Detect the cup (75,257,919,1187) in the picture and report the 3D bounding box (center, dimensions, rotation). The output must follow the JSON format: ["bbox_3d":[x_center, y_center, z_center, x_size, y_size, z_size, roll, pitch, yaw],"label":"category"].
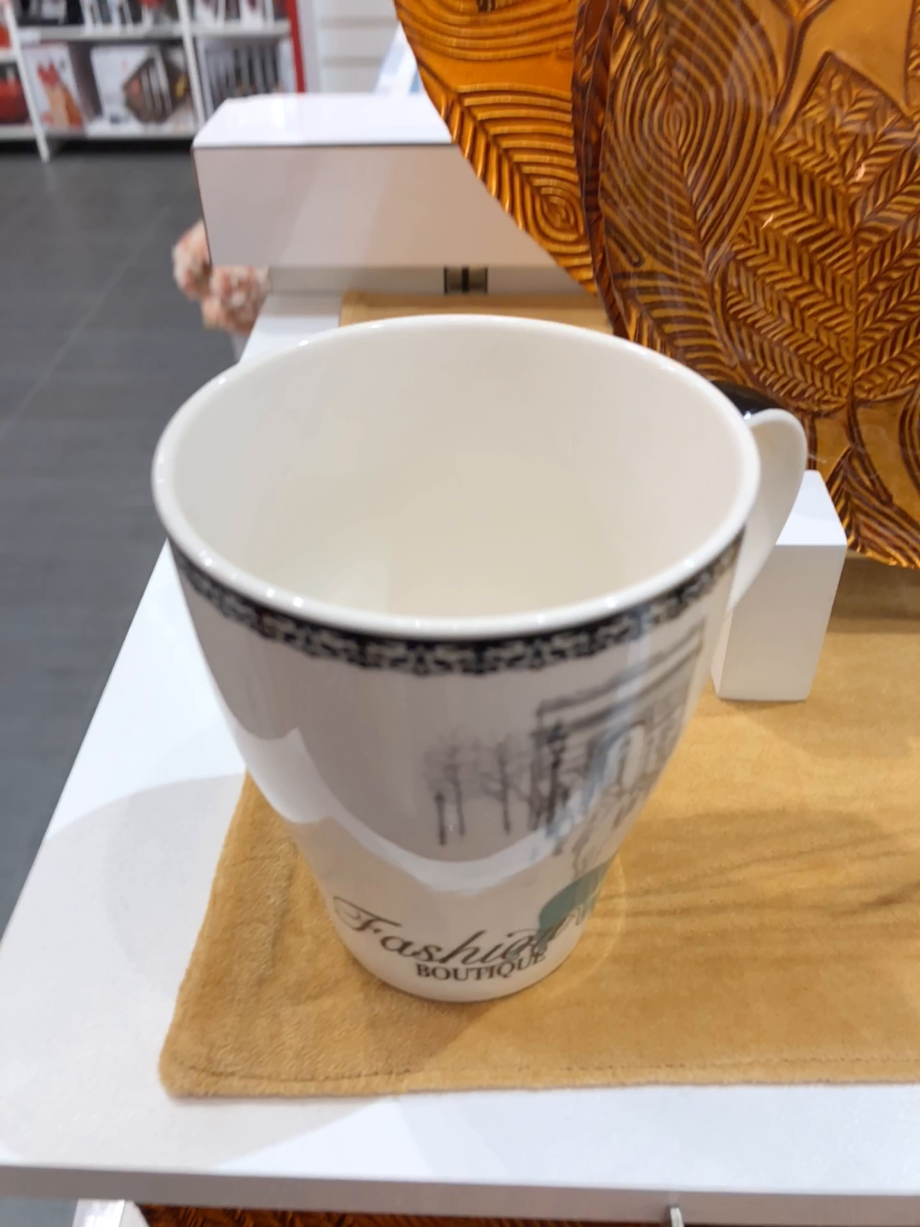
[{"bbox_3d":[0.012,0.011,0.180,0.110,0.100,0.080,-23,45,-24],"label":"cup"}]
